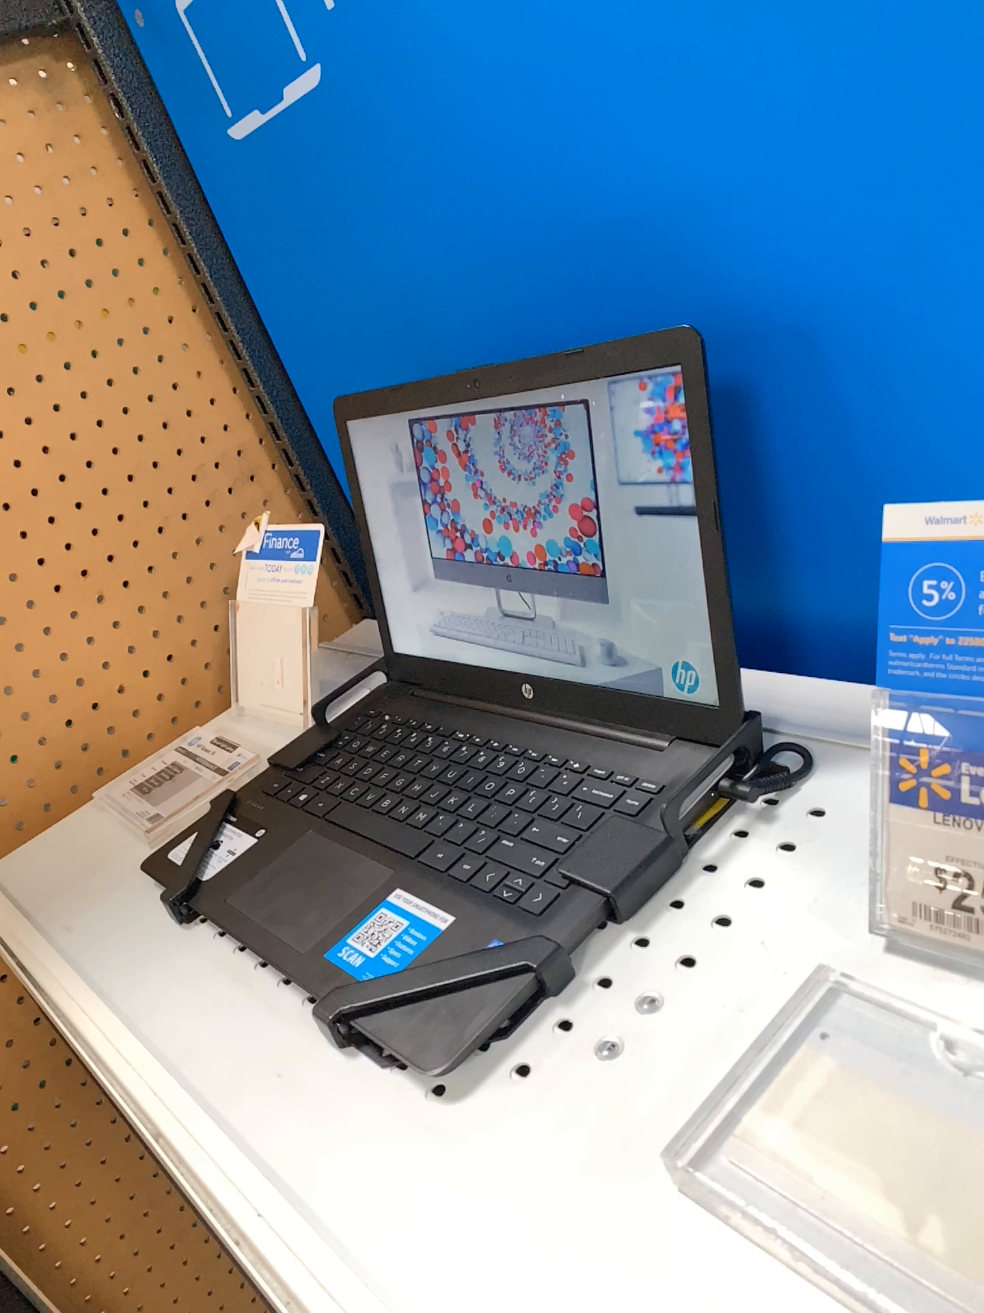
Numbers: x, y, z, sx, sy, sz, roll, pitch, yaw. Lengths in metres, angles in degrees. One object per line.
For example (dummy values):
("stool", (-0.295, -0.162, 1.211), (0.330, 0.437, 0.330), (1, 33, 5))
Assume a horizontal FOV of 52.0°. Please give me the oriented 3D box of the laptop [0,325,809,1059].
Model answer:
("laptop", (-0.062, -0.011, 0.561), (0.269, 0.203, 0.327), (-37, 27, -29))
